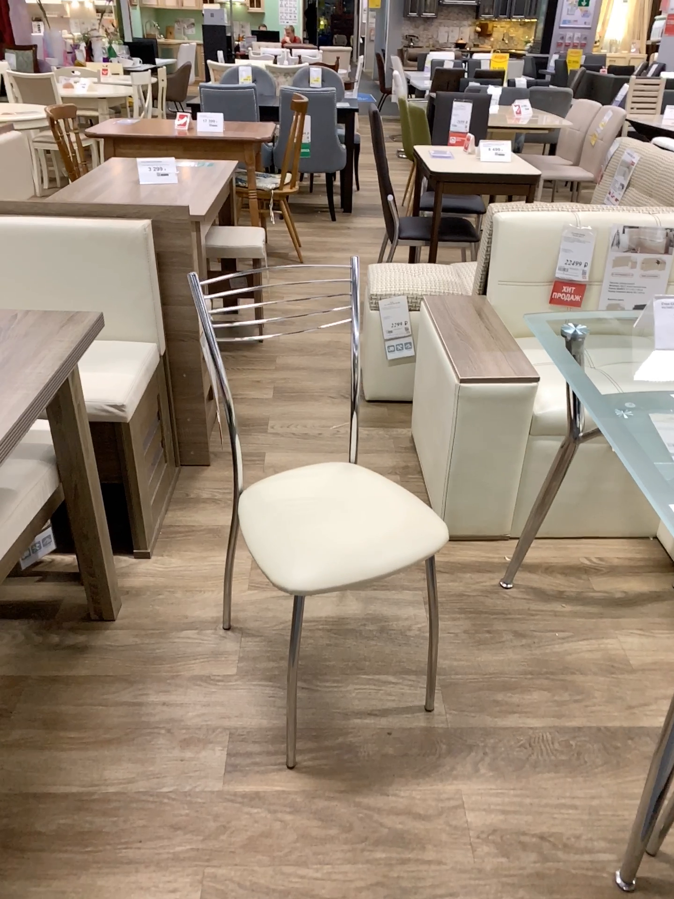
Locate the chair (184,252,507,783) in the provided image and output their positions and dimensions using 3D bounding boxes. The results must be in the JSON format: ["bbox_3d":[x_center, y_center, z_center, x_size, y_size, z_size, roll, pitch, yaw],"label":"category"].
[{"bbox_3d":[-0.024,0.142,1.481,0.414,0.967,0.482,-12,34,-22],"label":"chair"}]
